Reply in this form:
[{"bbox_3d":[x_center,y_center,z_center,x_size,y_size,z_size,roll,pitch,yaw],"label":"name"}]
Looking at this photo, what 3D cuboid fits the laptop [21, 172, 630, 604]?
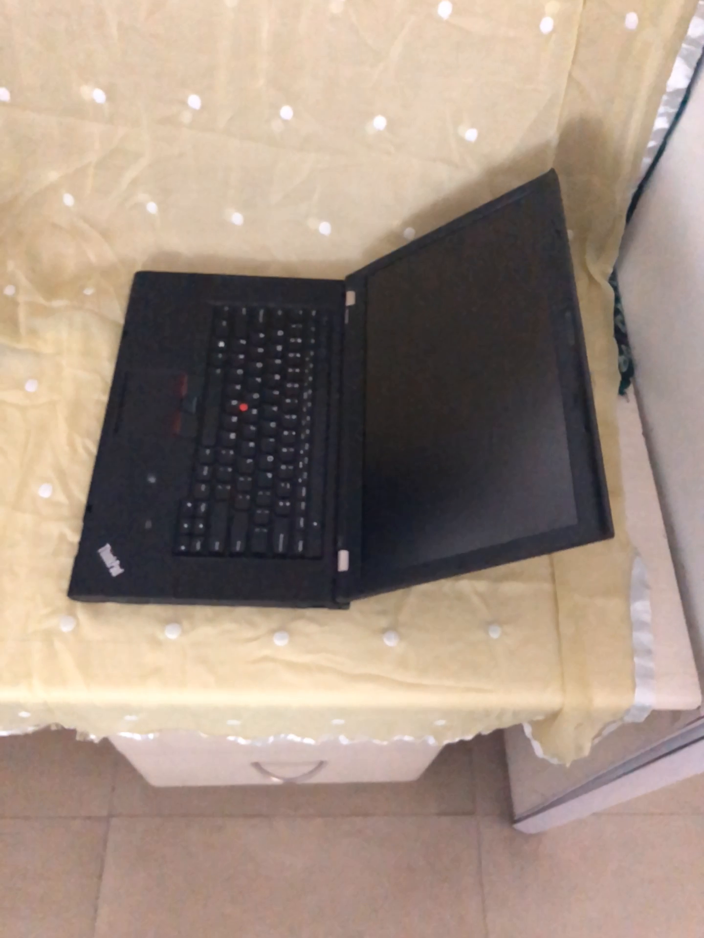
[{"bbox_3d":[-0.023,-0.079,0.694,0.424,0.156,0.349,1,60,1],"label":"laptop"}]
